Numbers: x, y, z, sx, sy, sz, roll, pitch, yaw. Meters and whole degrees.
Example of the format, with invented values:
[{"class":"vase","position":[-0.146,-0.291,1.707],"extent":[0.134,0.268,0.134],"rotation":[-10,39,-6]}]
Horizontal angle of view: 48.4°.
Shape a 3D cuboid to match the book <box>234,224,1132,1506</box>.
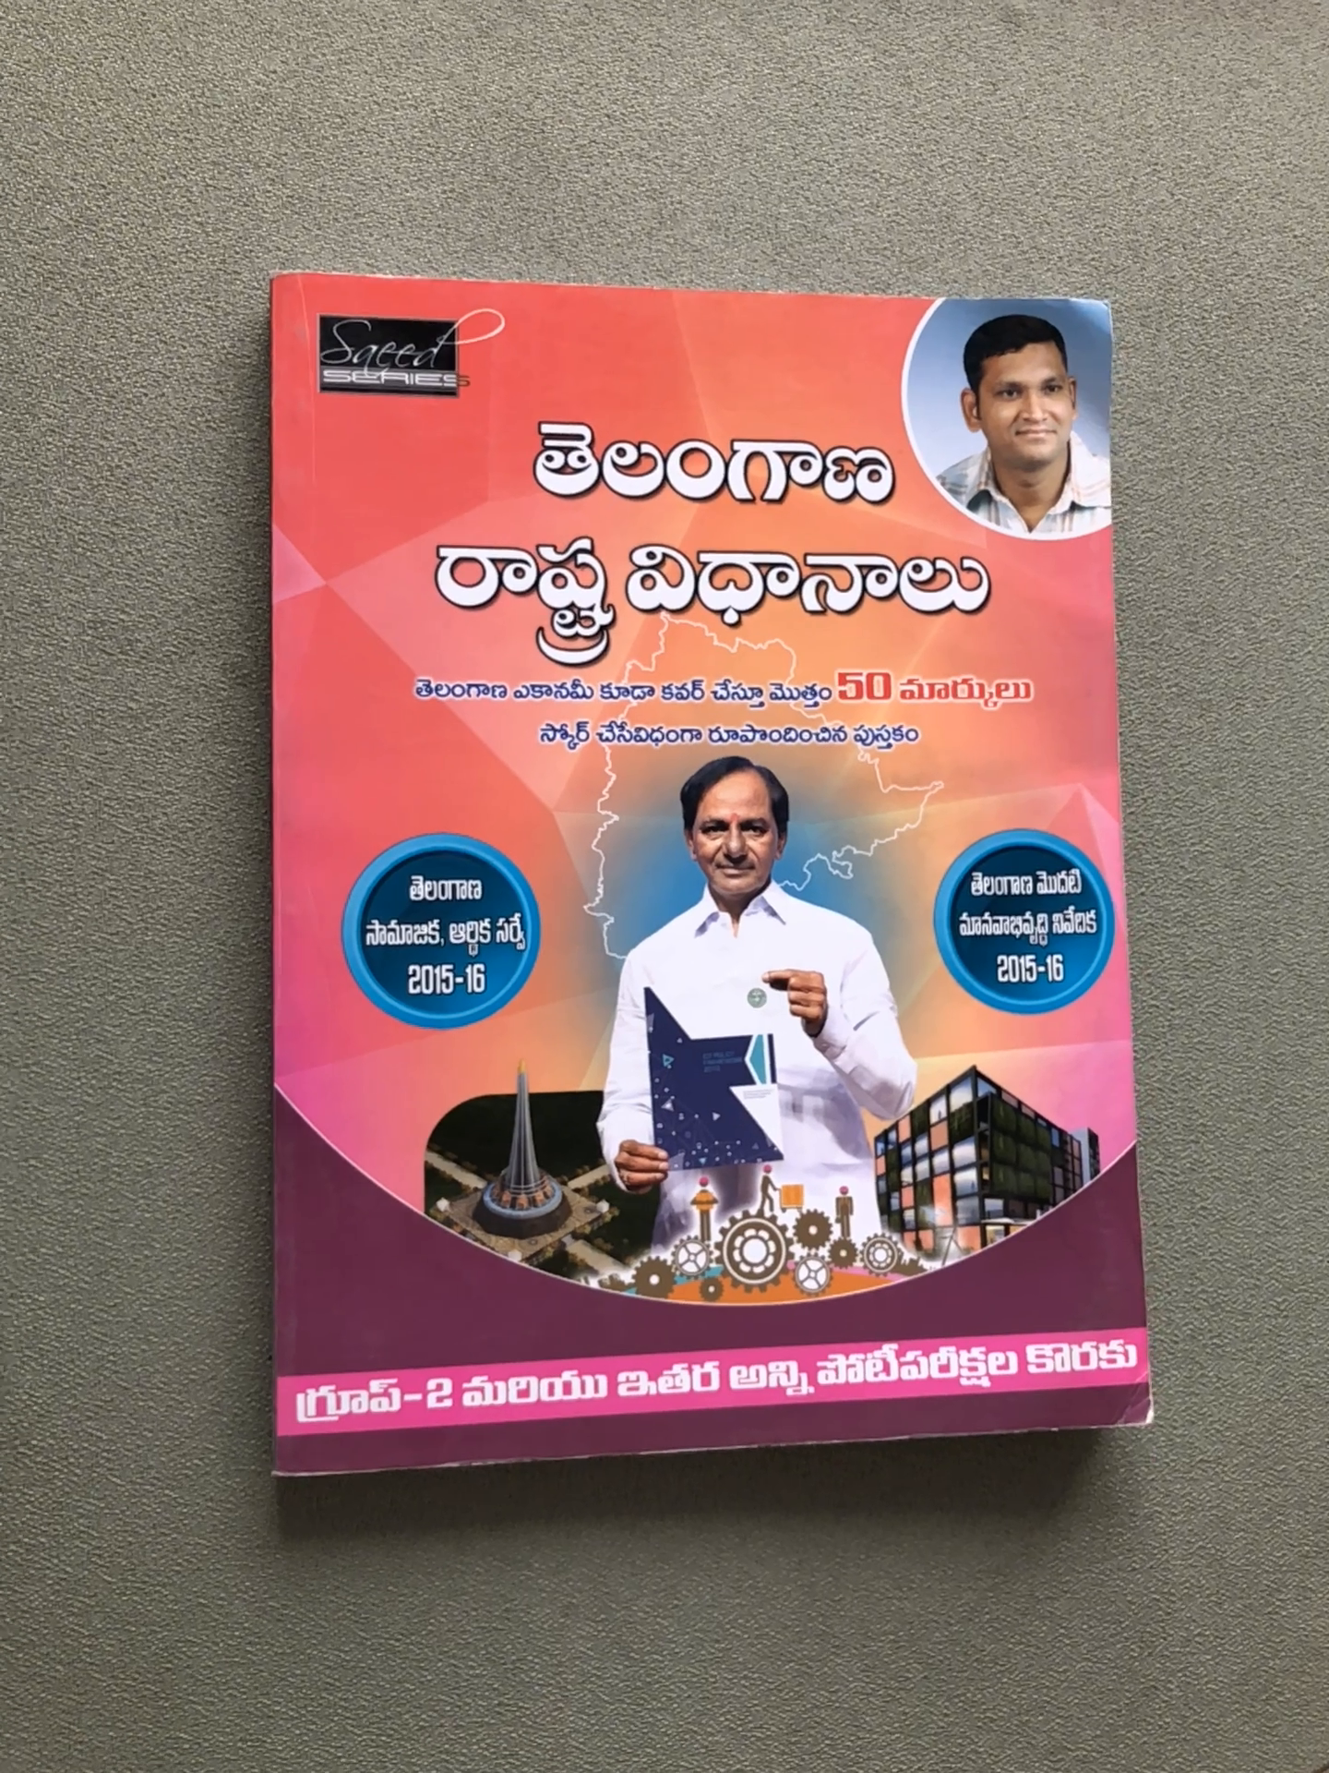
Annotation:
[{"class":"book","position":[0.004,-0.008,0.316],"extent":[0.180,0.030,0.250],"rotation":[0,86,-9]}]
